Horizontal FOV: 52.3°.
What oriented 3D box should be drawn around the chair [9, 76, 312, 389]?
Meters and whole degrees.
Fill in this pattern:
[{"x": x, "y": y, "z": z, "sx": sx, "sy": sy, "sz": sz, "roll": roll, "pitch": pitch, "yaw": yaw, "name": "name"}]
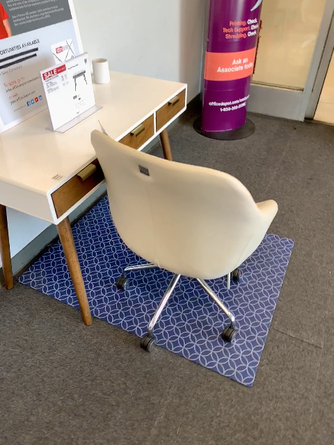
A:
[{"x": 0.032, "y": -0.014, "z": 1.271, "sx": 0.671, "sy": 0.736, "sz": 0.693, "roll": 19, "pitch": 44, "yaw": 21, "name": "chair"}]
